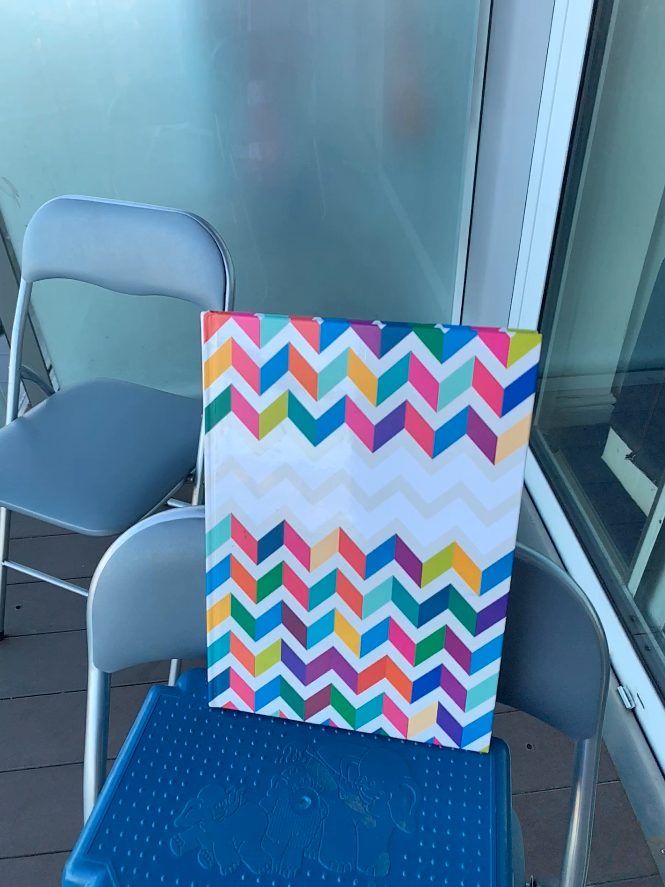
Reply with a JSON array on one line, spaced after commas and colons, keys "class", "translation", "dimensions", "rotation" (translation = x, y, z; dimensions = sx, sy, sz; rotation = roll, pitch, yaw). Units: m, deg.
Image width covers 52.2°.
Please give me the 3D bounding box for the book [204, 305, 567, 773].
[{"class": "book", "translation": [0.021, 0.065, 0.445], "dimensions": [0.211, 0.289, 0.030], "rotation": [6, 17, 11]}]
